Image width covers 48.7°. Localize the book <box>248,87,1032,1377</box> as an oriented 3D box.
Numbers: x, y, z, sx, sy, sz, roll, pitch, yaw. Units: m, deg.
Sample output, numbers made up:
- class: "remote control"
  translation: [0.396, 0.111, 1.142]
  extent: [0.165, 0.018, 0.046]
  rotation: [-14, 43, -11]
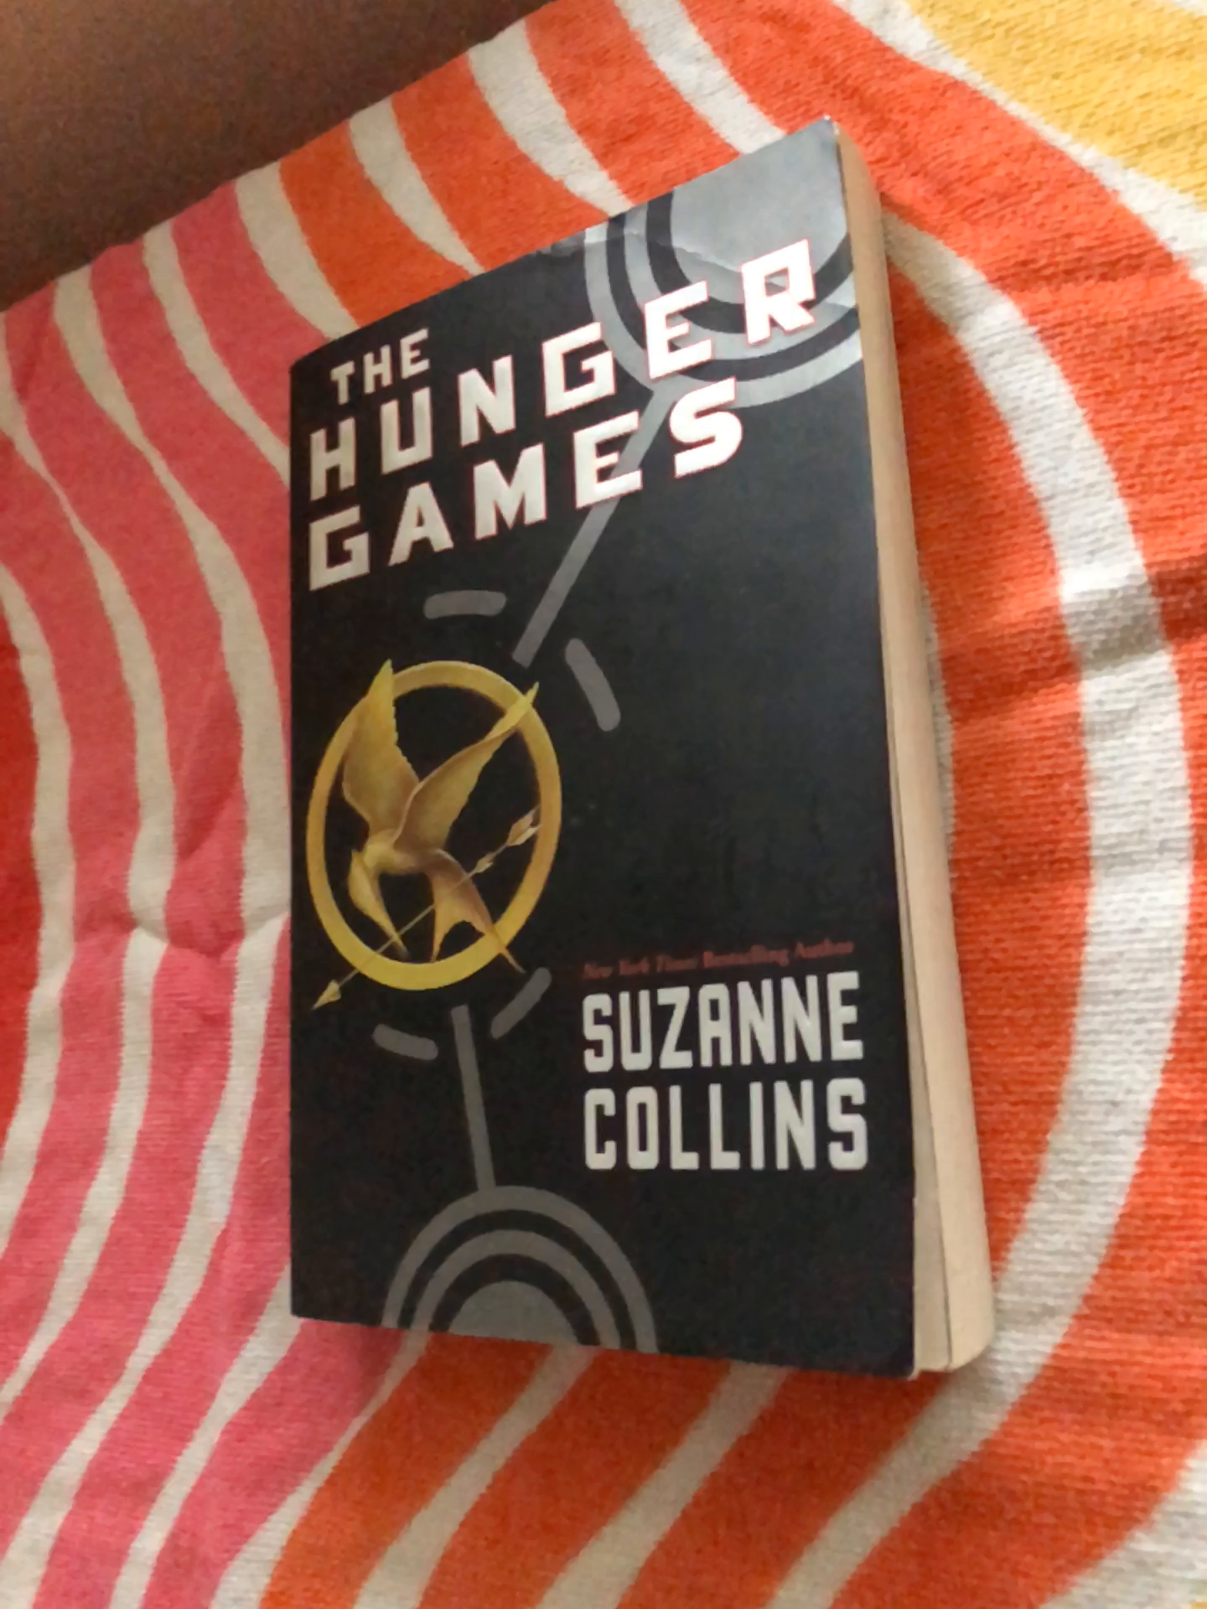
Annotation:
- class: "book"
  translation: [-0.004, -0.008, 0.252]
  extent: [0.138, 0.037, 0.200]
  rotation: [-10, 76, 32]
